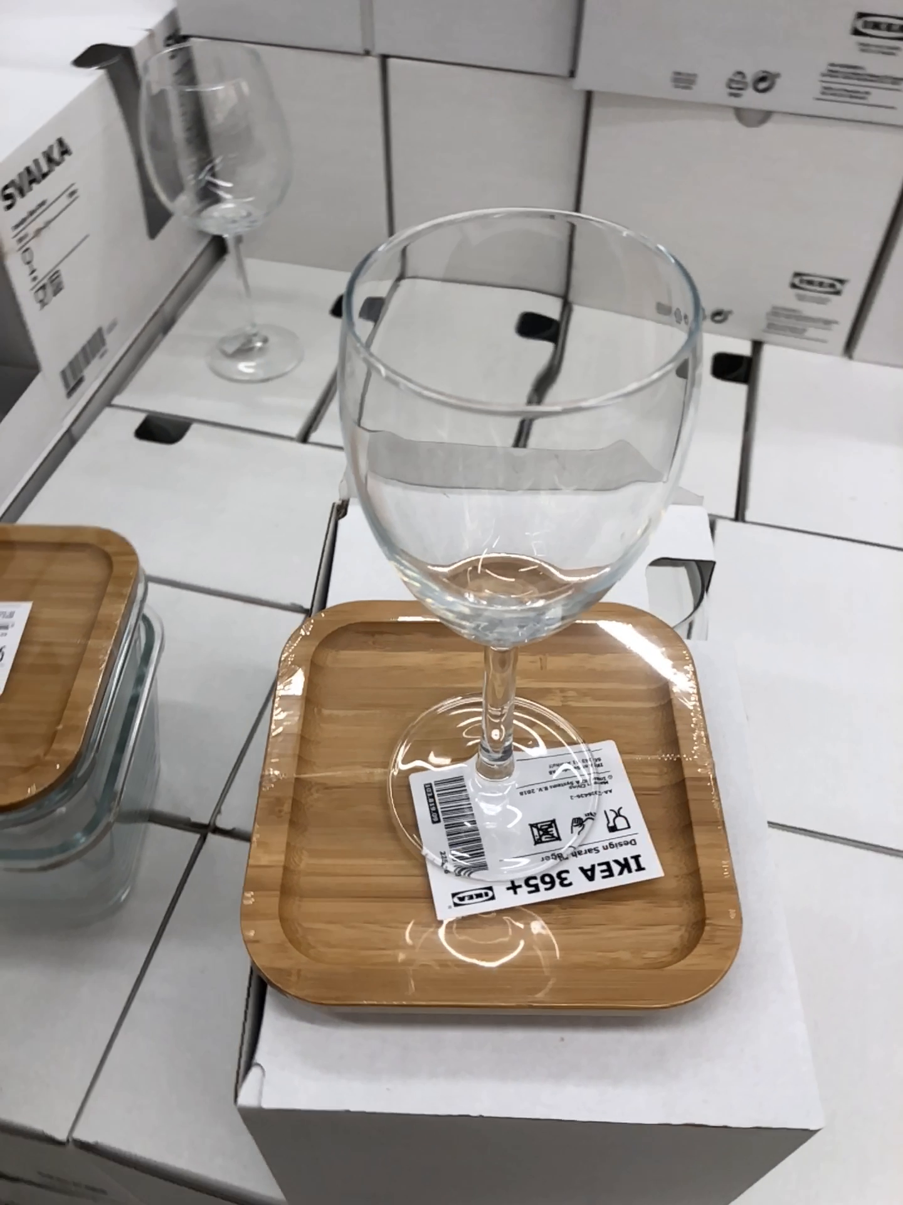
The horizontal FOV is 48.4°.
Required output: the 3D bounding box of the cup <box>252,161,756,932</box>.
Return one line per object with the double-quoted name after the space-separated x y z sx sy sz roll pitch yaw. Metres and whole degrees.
0.014 0.000 0.252 0.080 0.179 0.080 0 49 0 "cup"
